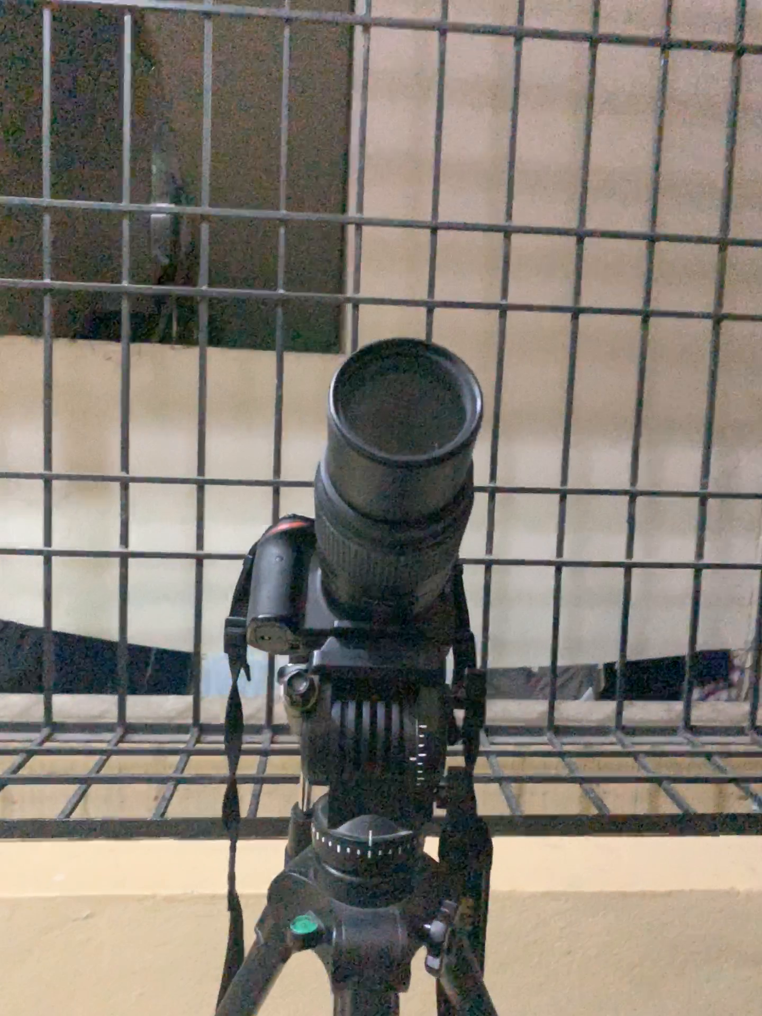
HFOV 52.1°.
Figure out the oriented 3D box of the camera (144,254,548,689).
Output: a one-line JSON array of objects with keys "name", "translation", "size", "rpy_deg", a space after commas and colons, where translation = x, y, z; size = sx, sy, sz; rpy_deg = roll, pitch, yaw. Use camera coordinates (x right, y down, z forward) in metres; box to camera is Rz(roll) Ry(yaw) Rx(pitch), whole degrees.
[{"name": "camera", "translation": [-0.014, -0.001, 0.377], "size": [0.136, 0.101, 0.209], "rpy_deg": [2, -34, -1]}]
